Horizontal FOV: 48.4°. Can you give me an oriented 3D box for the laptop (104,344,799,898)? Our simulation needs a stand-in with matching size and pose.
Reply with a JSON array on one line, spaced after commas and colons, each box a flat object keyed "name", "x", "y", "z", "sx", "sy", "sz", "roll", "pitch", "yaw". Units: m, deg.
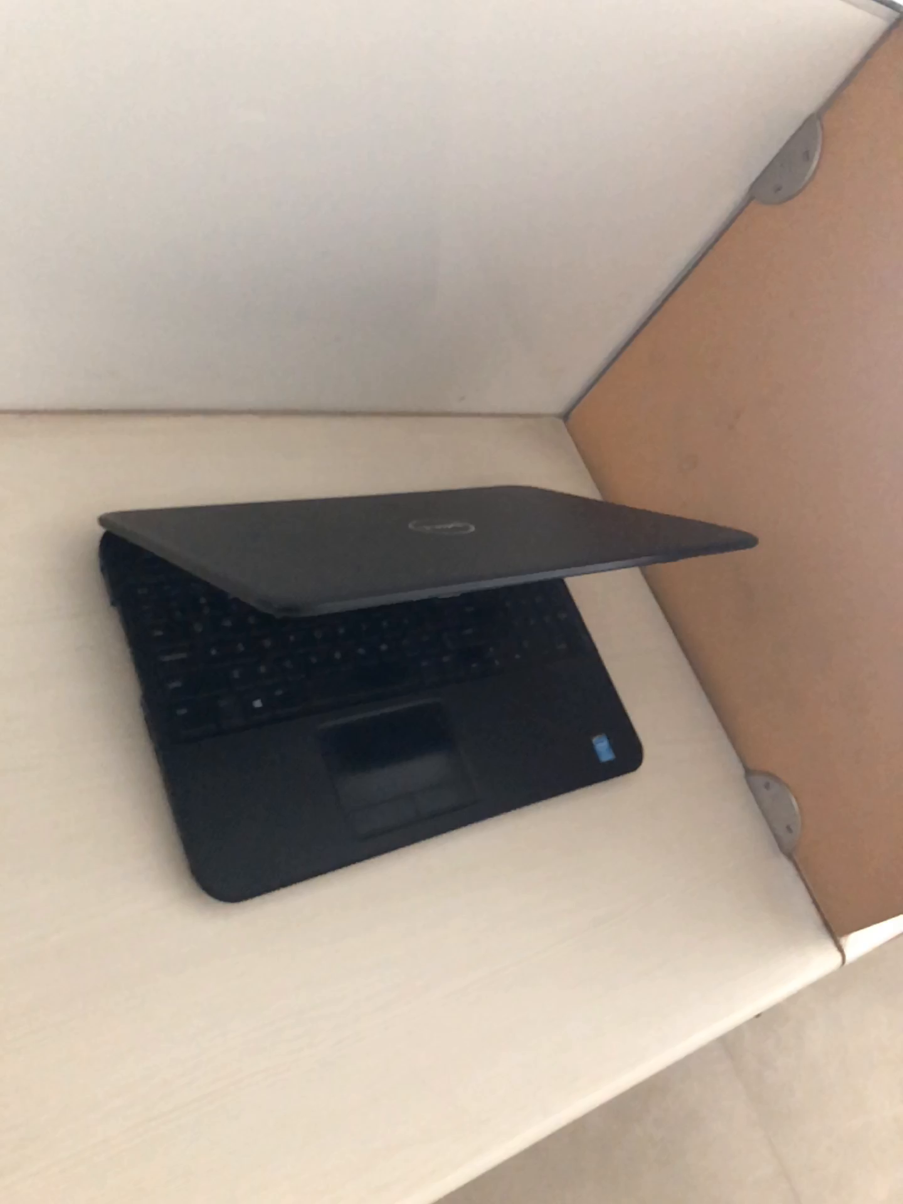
[{"name": "laptop", "x": 0.004, "y": -0.004, "z": 0.666, "sx": 0.366, "sy": 0.177, "sz": 0.247, "roll": -9, "pitch": 66, "yaw": -38}]
